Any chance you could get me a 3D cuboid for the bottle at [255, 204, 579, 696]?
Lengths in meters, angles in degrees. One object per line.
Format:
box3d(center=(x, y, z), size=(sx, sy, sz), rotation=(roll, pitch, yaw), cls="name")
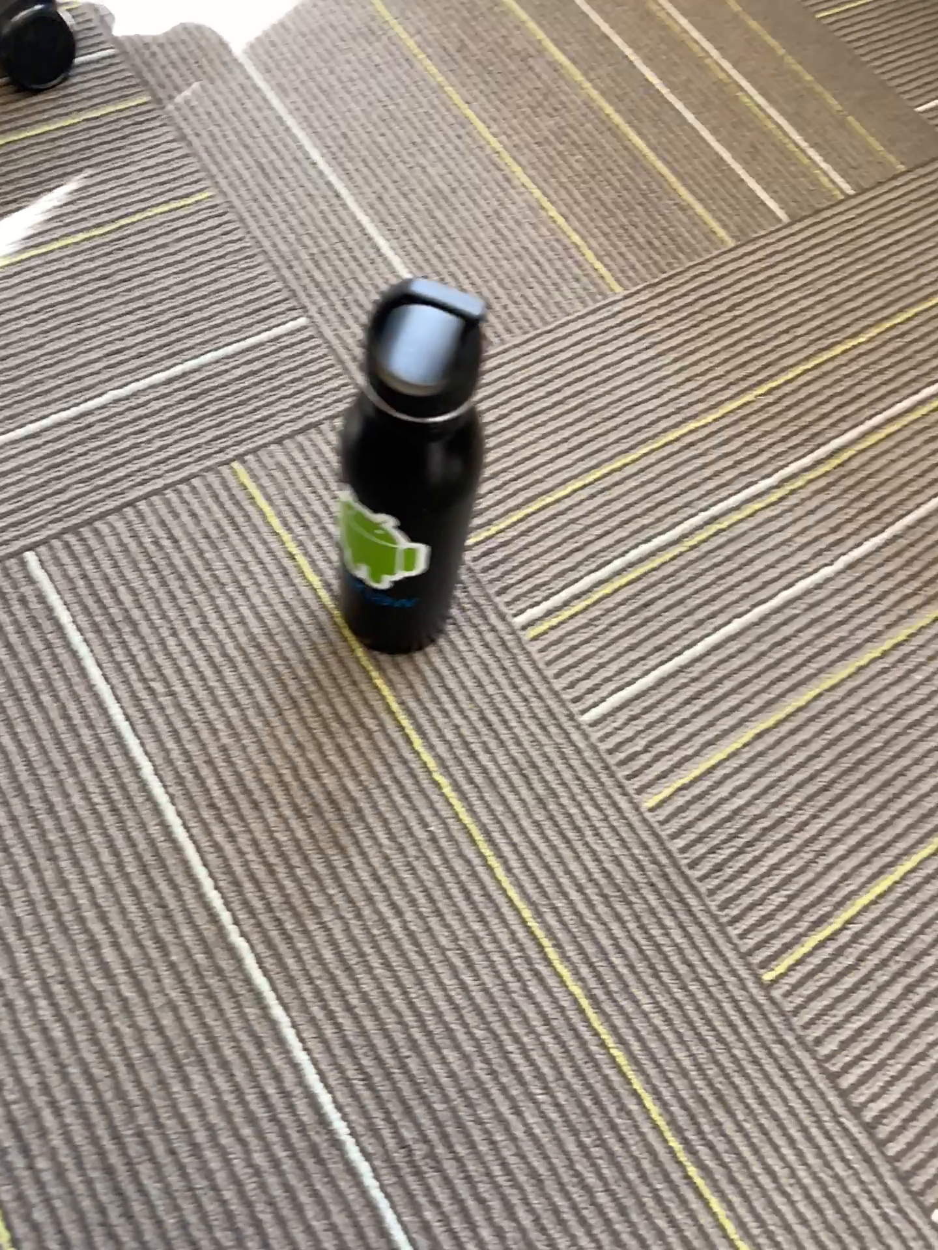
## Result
box3d(center=(-0.033, -0.062, 0.462), size=(0.090, 0.240, 0.080), rotation=(35, 66, 8), cls="bottle")
